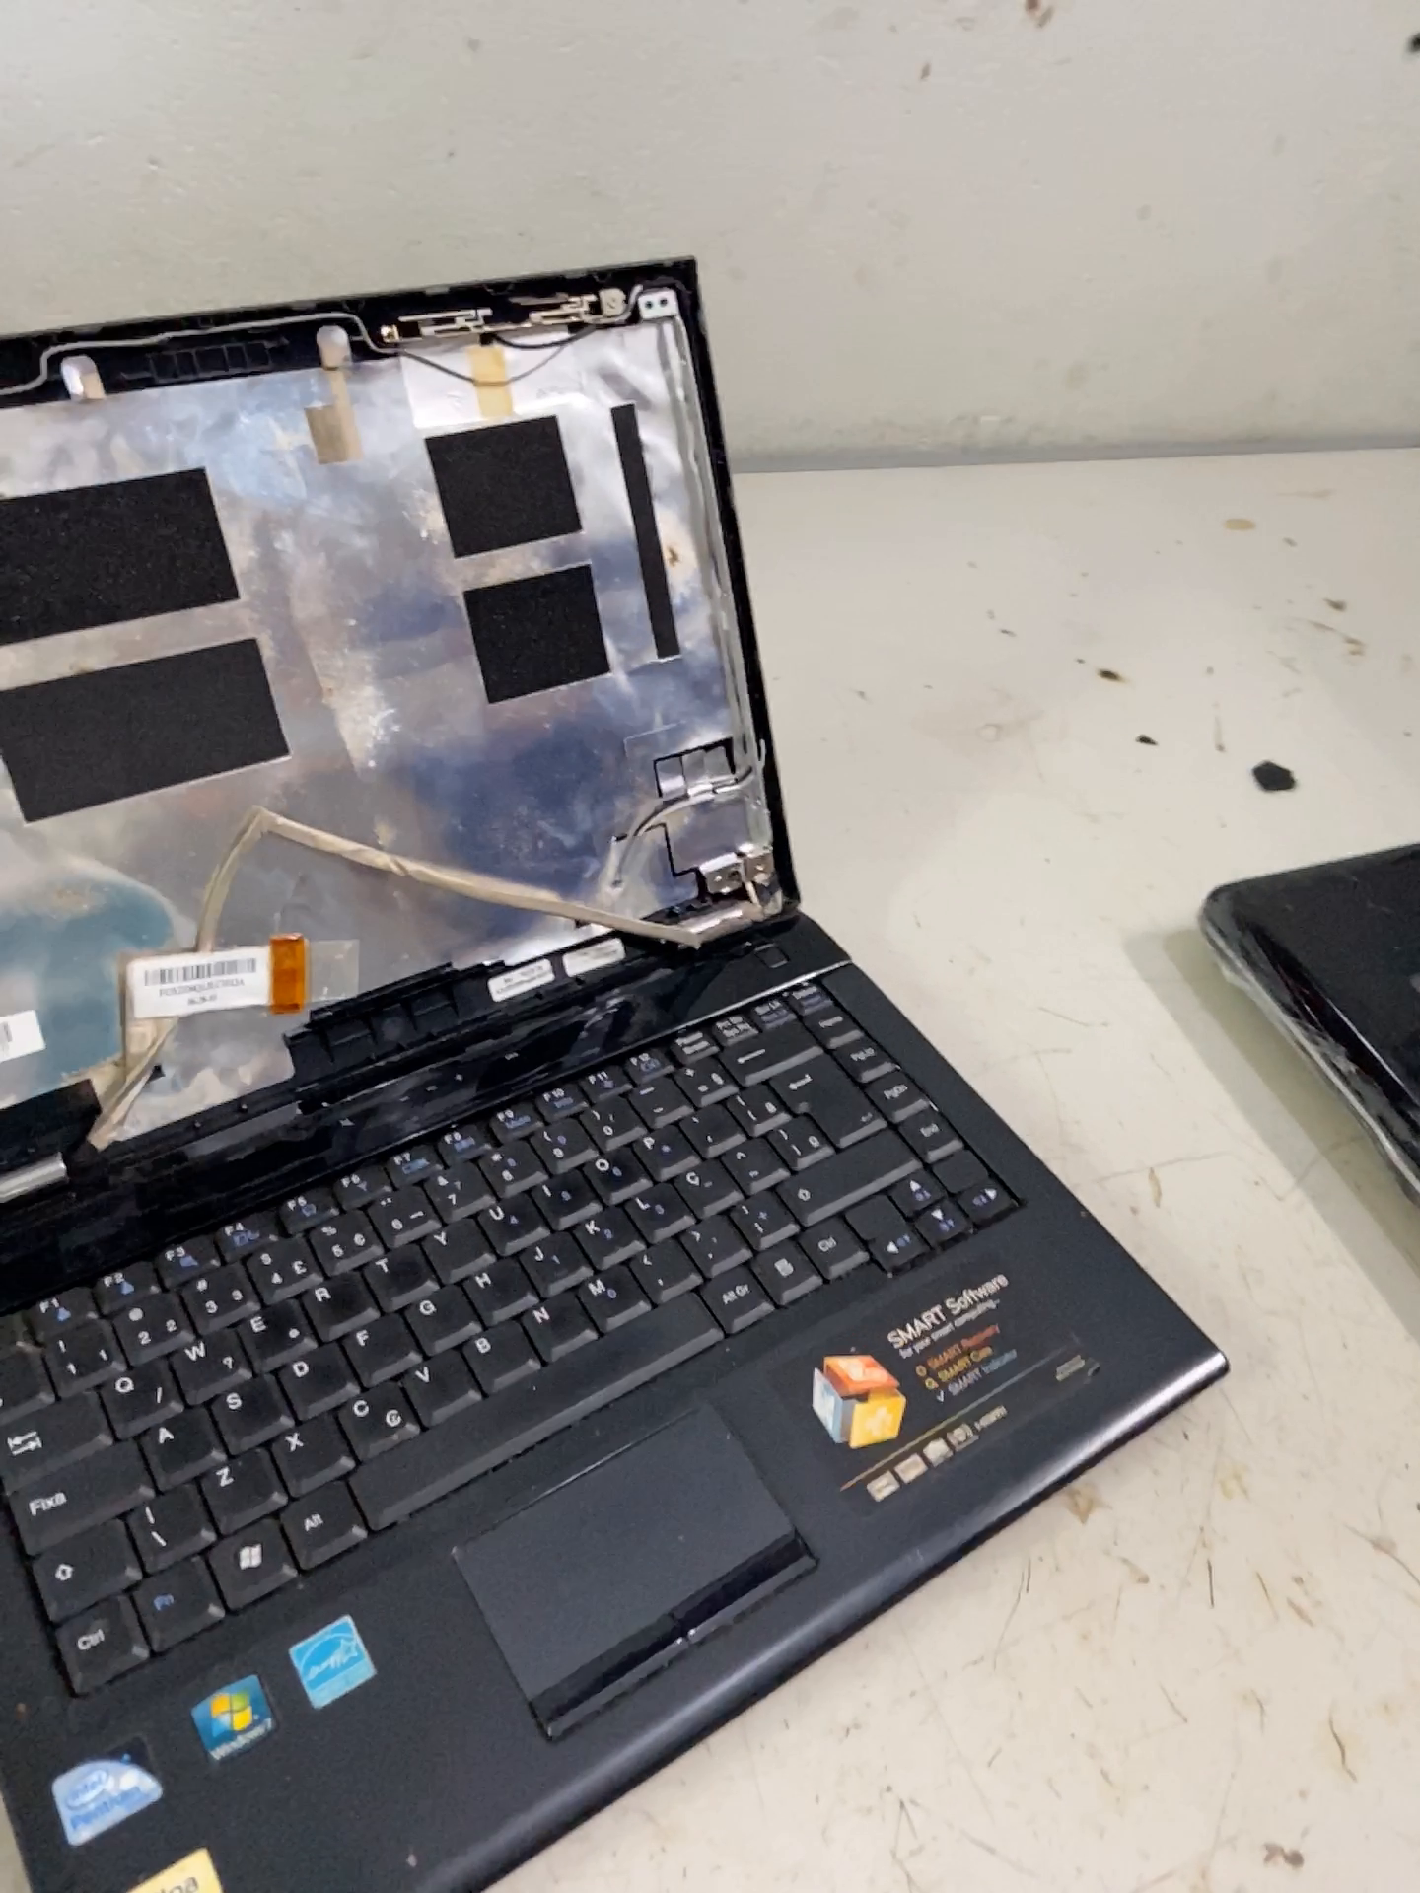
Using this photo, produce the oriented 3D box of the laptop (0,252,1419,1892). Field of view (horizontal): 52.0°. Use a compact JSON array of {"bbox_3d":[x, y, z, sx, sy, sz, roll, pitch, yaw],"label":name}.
[{"bbox_3d":[-0.064,0.002,0.390,0.333,0.205,0.336,-21,51,-26],"label":"laptop"}]
